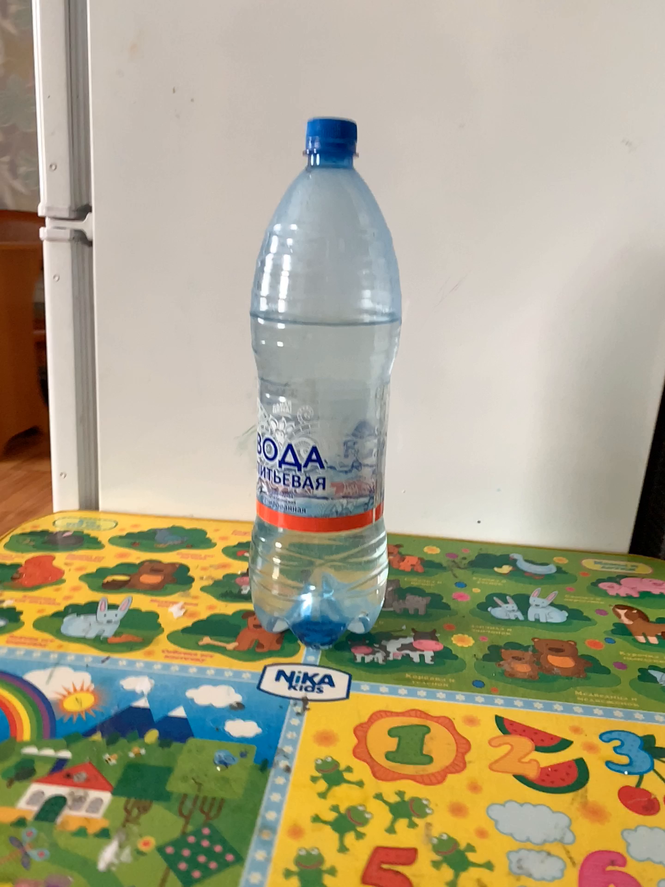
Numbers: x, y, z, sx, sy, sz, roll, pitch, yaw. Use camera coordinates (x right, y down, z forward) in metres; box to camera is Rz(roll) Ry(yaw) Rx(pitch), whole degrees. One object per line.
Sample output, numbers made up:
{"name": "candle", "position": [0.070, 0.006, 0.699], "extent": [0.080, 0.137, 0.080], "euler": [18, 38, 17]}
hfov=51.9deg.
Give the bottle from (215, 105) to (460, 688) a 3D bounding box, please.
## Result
{"name": "bottle", "position": [0.000, -0.028, 0.433], "extent": [0.100, 0.318, 0.100], "euler": [2, 16, 0]}
